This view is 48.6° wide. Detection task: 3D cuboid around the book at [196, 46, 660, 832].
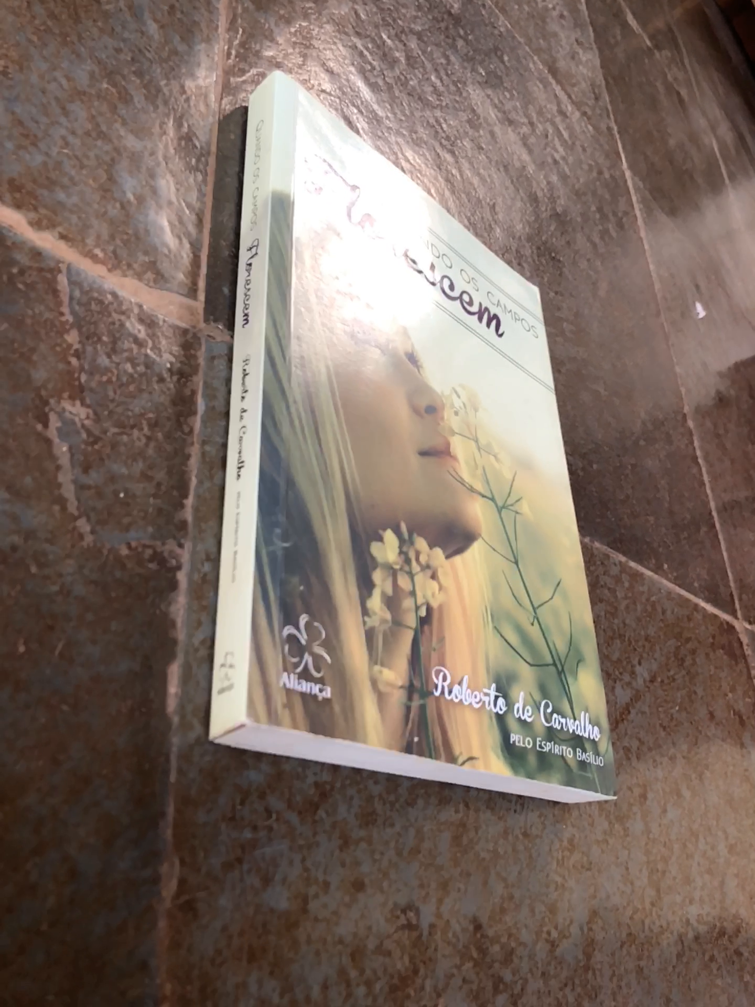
[{"bbox_3d":[0.024,-0.019,0.275,0.162,0.021,0.226,25,52,-40],"label":"book"}]
